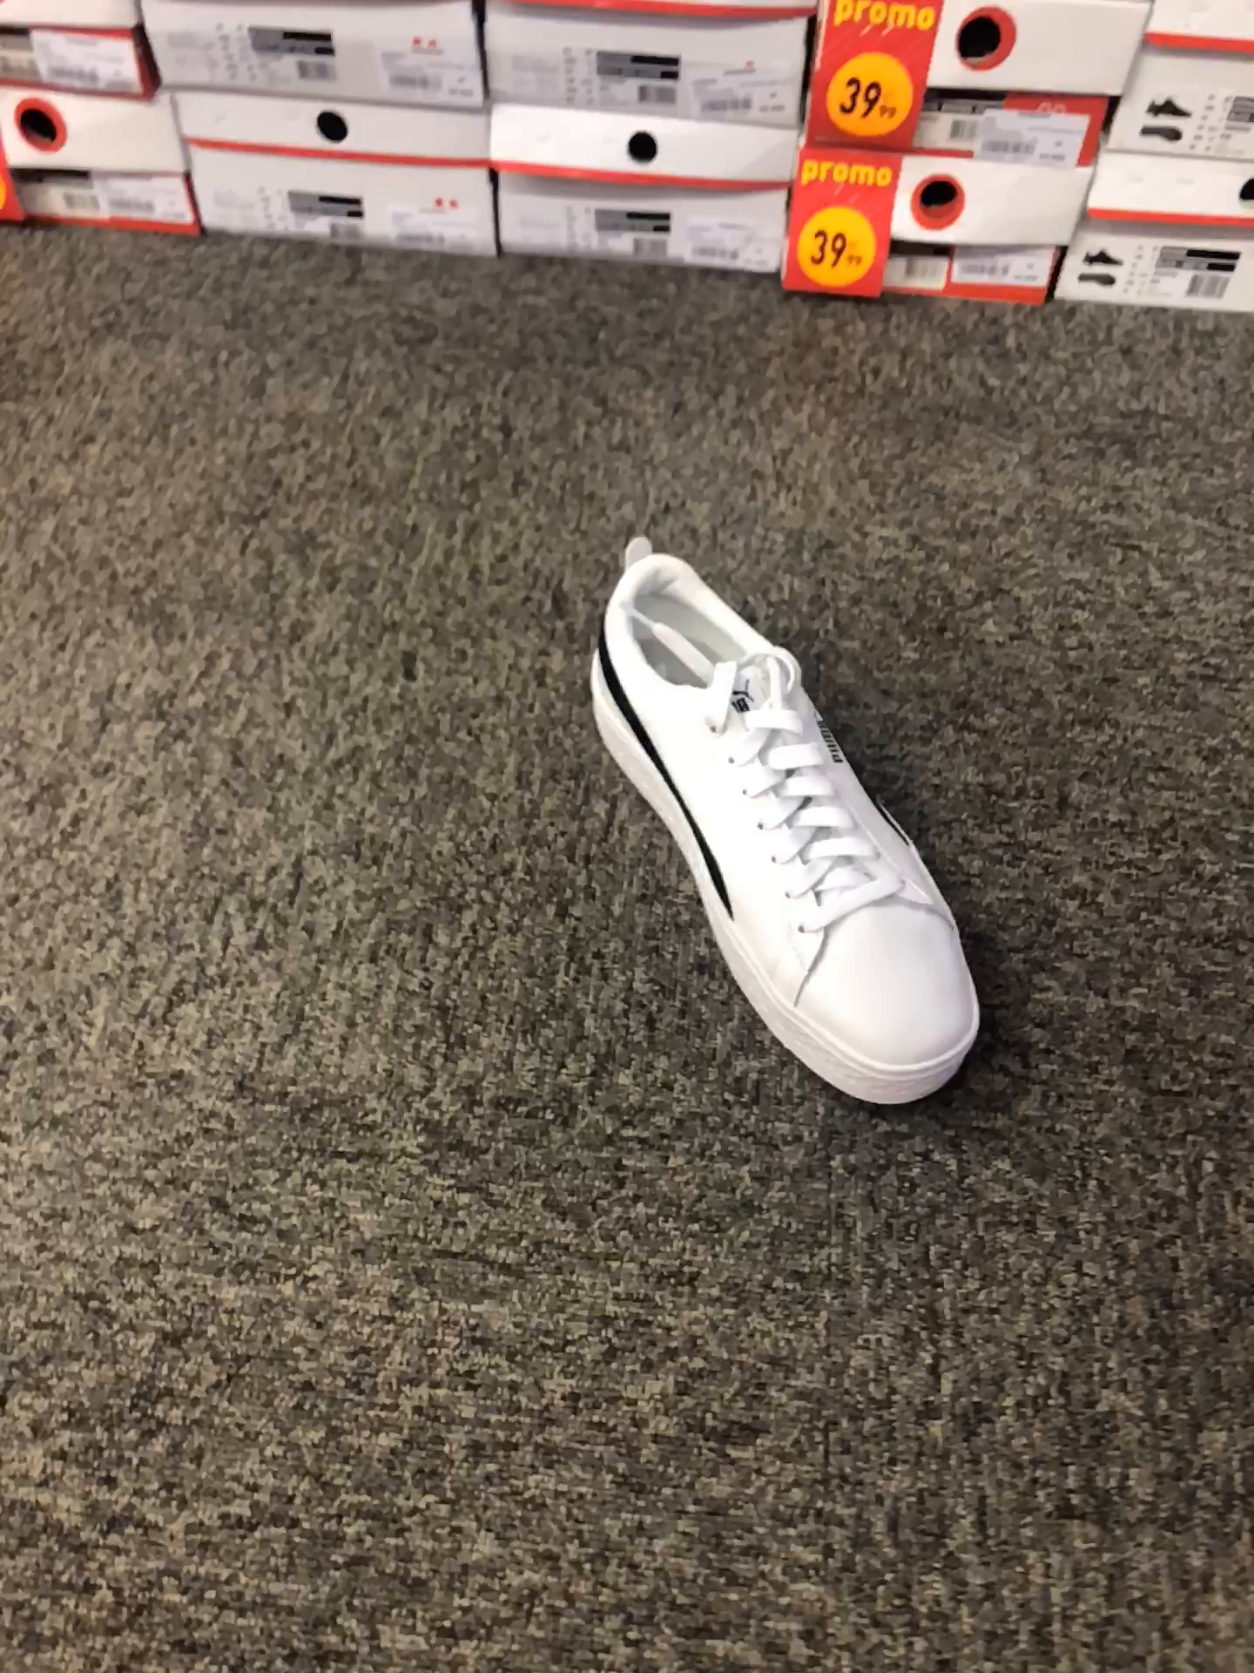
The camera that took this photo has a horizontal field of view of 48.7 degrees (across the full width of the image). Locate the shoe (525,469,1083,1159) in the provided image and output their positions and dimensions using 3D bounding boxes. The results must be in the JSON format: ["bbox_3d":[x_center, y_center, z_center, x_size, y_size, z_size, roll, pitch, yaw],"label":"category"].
[{"bbox_3d":[0.062,-0.021,0.621,0.110,0.090,0.291,-20,61,-14],"label":"shoe"}]
